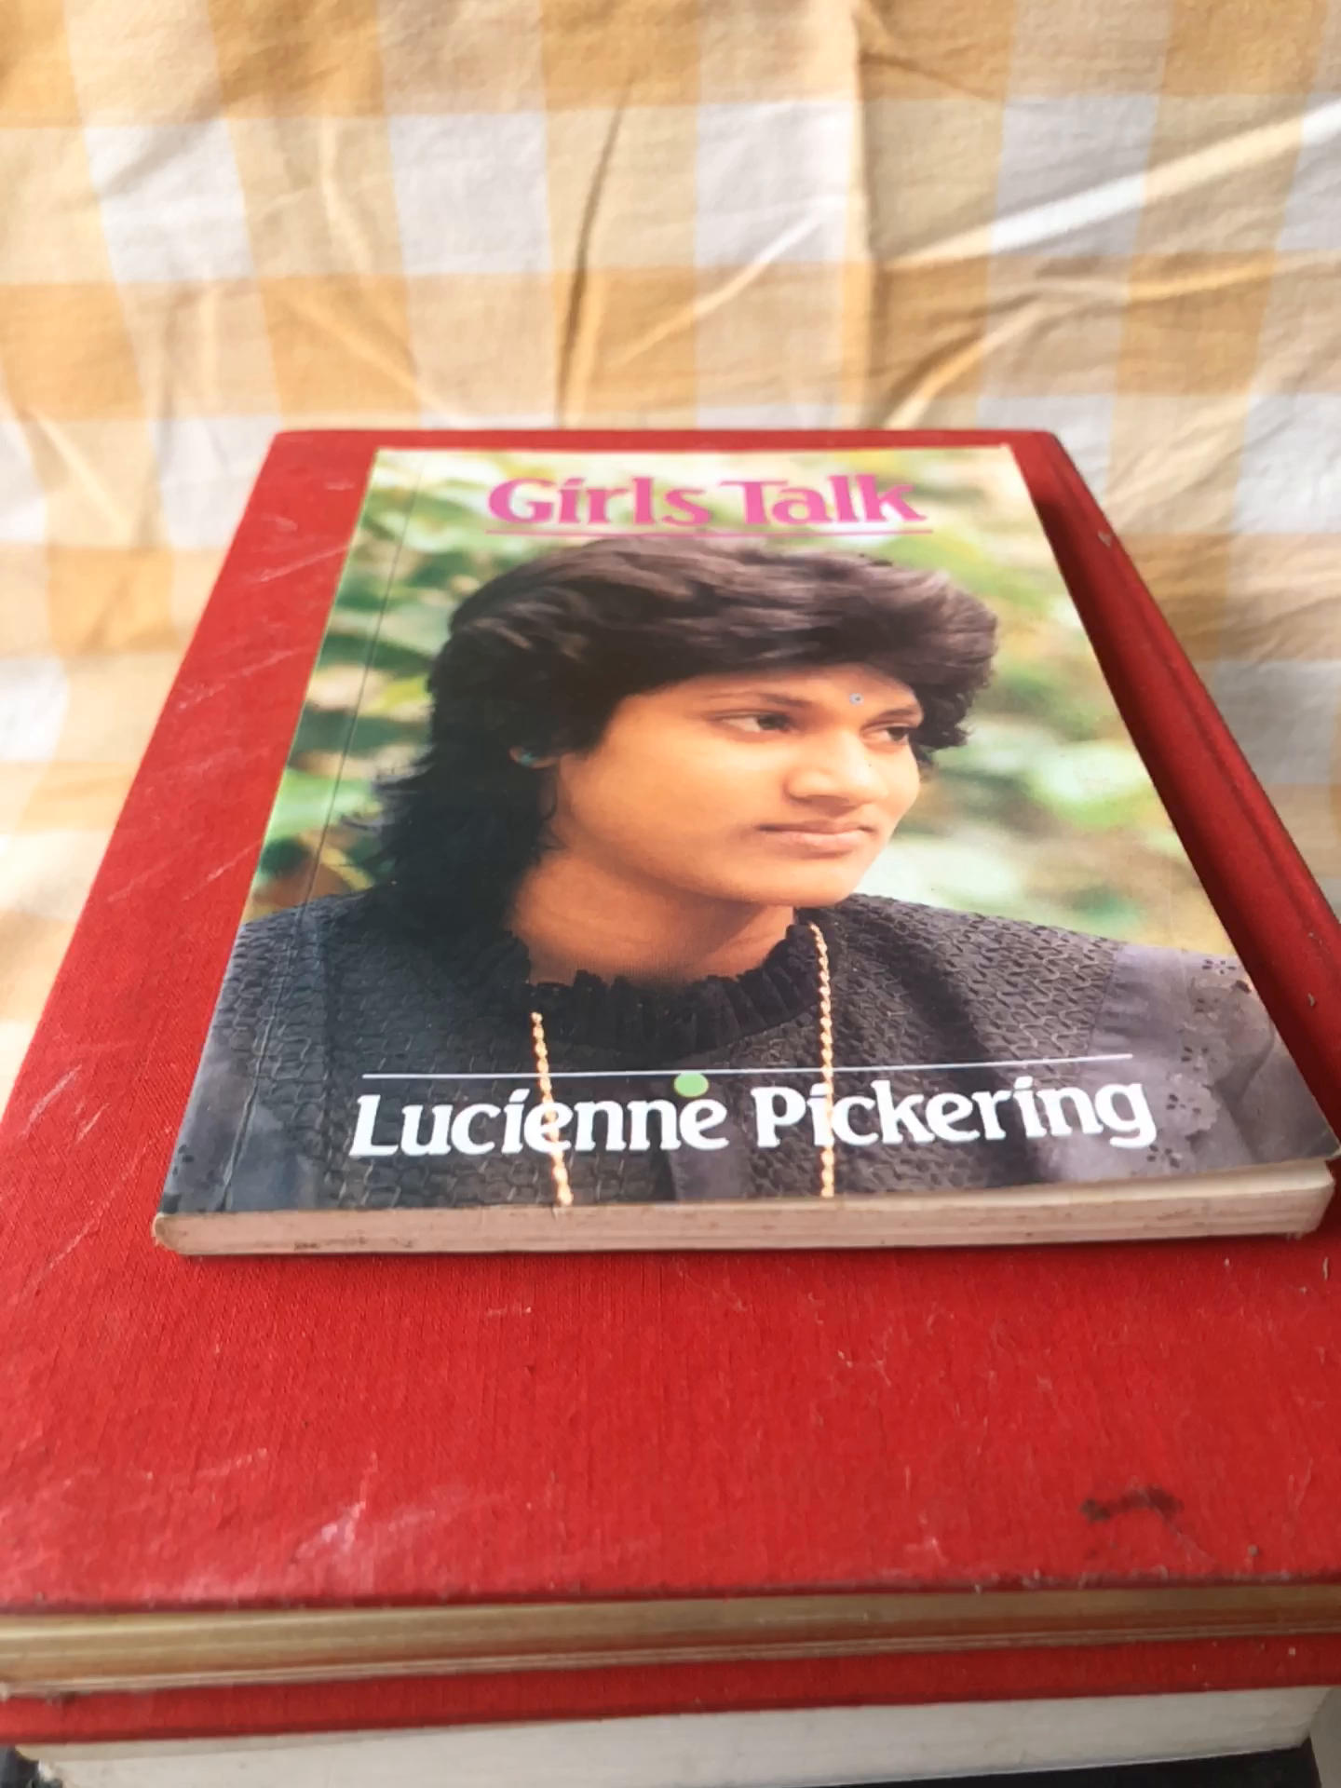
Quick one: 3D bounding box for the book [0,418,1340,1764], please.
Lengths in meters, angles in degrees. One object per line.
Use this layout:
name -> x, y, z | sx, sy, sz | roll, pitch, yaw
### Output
book -> 0.006, -0.009, 0.237 | 0.174, 0.031, 0.250 | -1, 40, -2

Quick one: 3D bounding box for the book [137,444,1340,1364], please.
book -> 0.007, -0.018, 0.233 | 0.130, 0.025, 0.183 | -1, 41, -2
